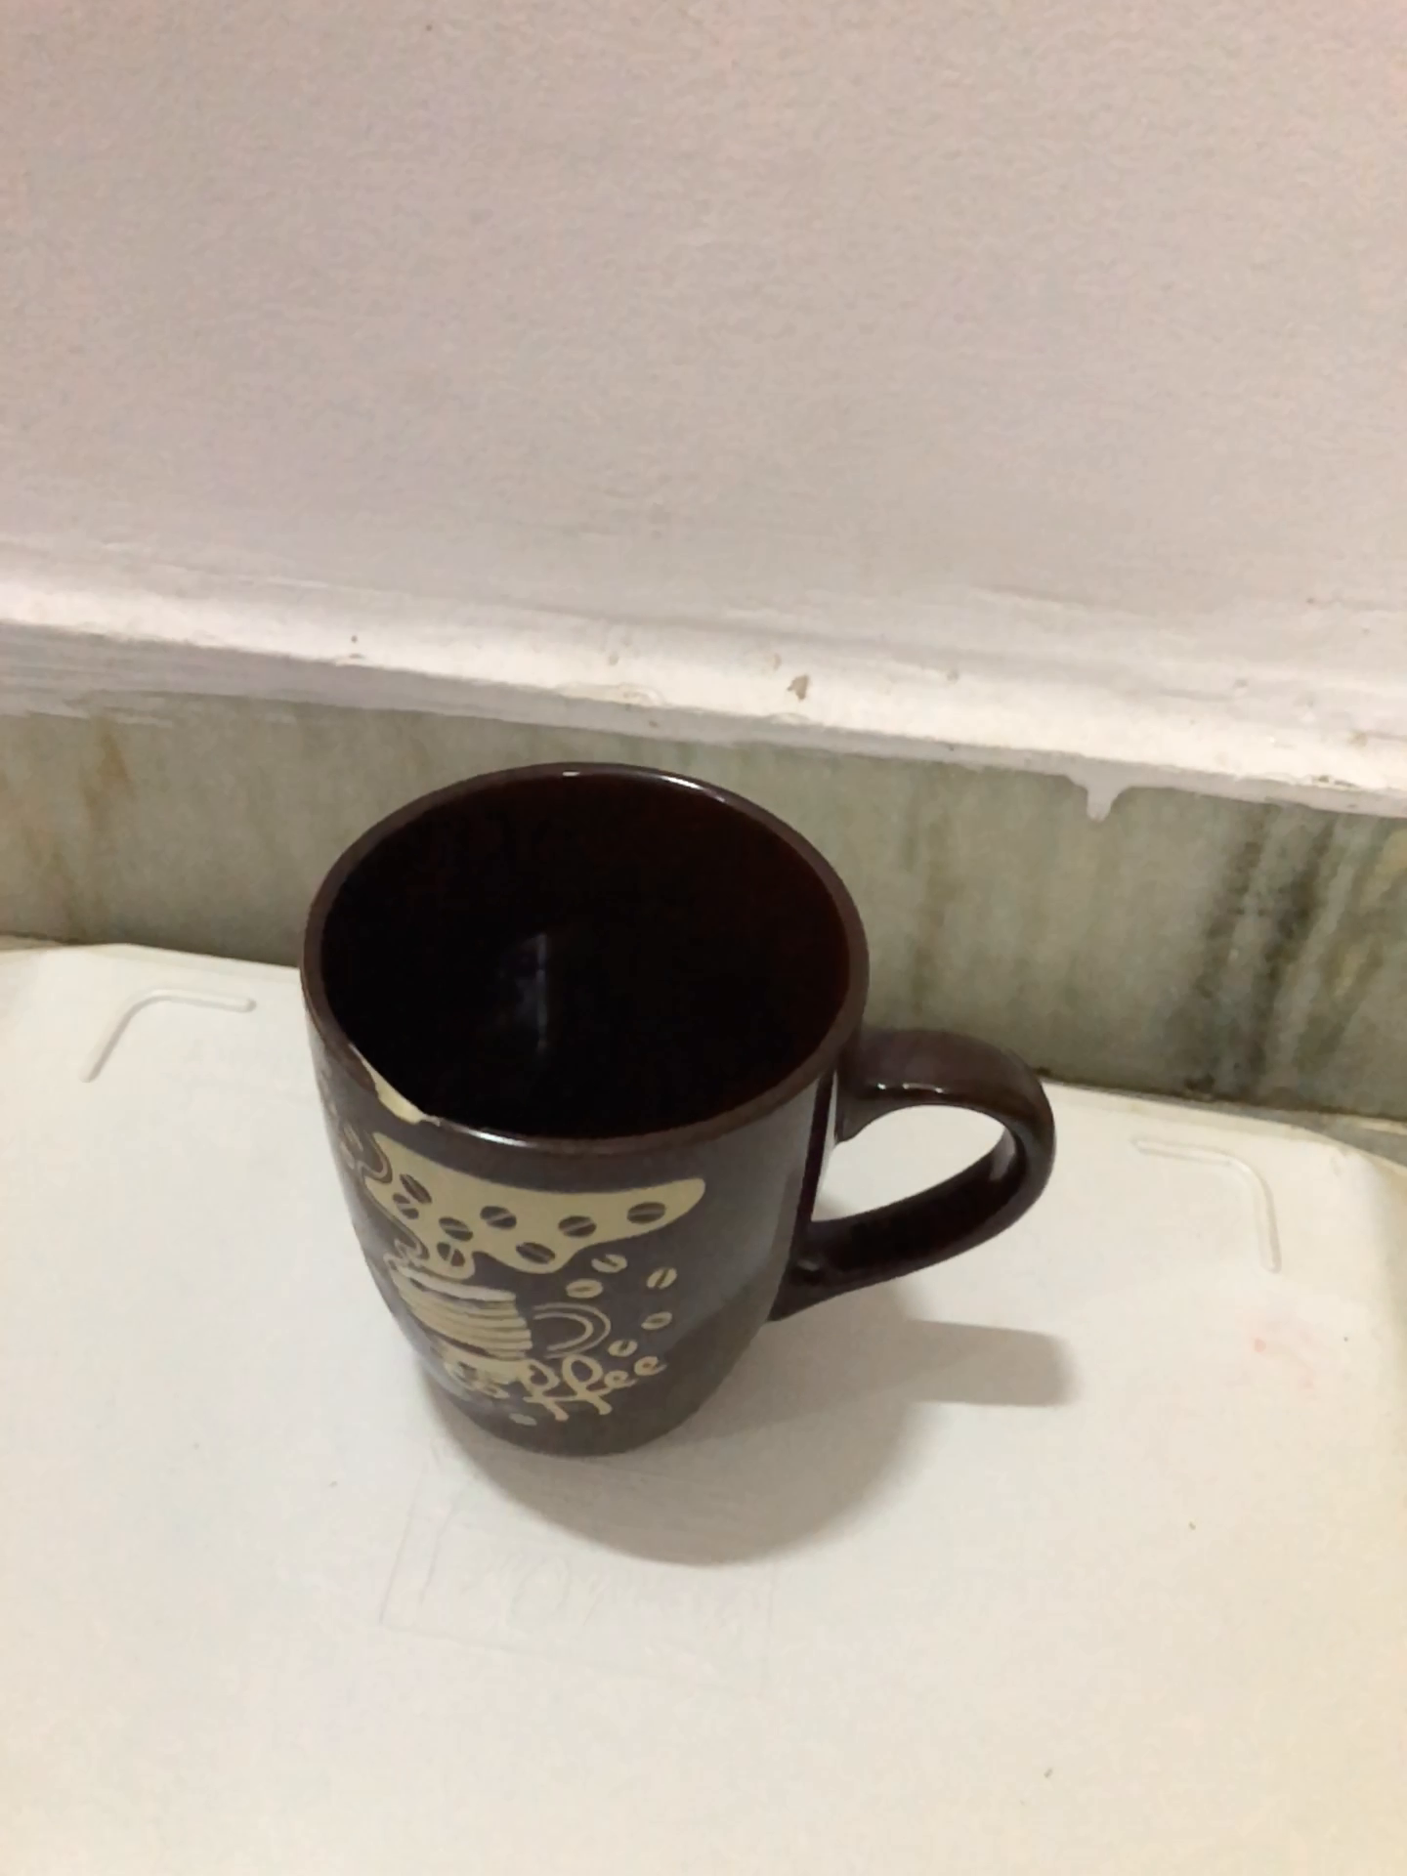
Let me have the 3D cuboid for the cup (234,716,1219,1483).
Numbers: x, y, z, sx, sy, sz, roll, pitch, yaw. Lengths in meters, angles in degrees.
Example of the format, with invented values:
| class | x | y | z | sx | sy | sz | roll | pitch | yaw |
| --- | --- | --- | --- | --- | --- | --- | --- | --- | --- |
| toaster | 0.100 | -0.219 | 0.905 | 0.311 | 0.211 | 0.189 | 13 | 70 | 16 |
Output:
| class | x | y | z | sx | sy | sz | roll | pitch | yaw |
| --- | --- | --- | --- | --- | --- | --- | --- | --- | --- |
| cup | 0.000 | 0.029 | 0.250 | 0.120 | 0.099 | 0.070 | 2 | 42 | -4 |
